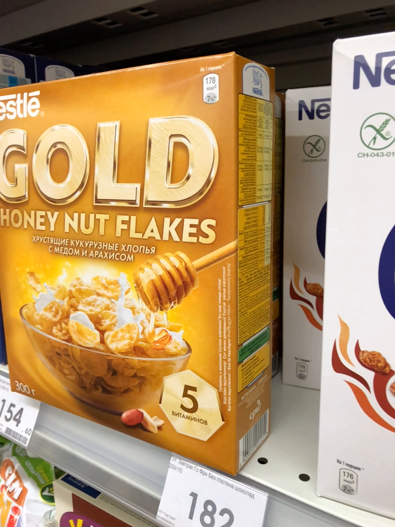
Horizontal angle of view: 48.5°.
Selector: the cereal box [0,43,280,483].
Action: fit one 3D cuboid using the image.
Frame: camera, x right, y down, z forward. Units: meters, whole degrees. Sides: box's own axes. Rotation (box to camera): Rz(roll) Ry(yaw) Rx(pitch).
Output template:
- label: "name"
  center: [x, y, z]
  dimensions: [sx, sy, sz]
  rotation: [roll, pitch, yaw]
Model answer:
- label: "cereal box"
  center: [-0.048, -0.004, 0.285]
  dimensions: [0.190, 0.219, 0.050]
  rotation: [6, 13, 32]
